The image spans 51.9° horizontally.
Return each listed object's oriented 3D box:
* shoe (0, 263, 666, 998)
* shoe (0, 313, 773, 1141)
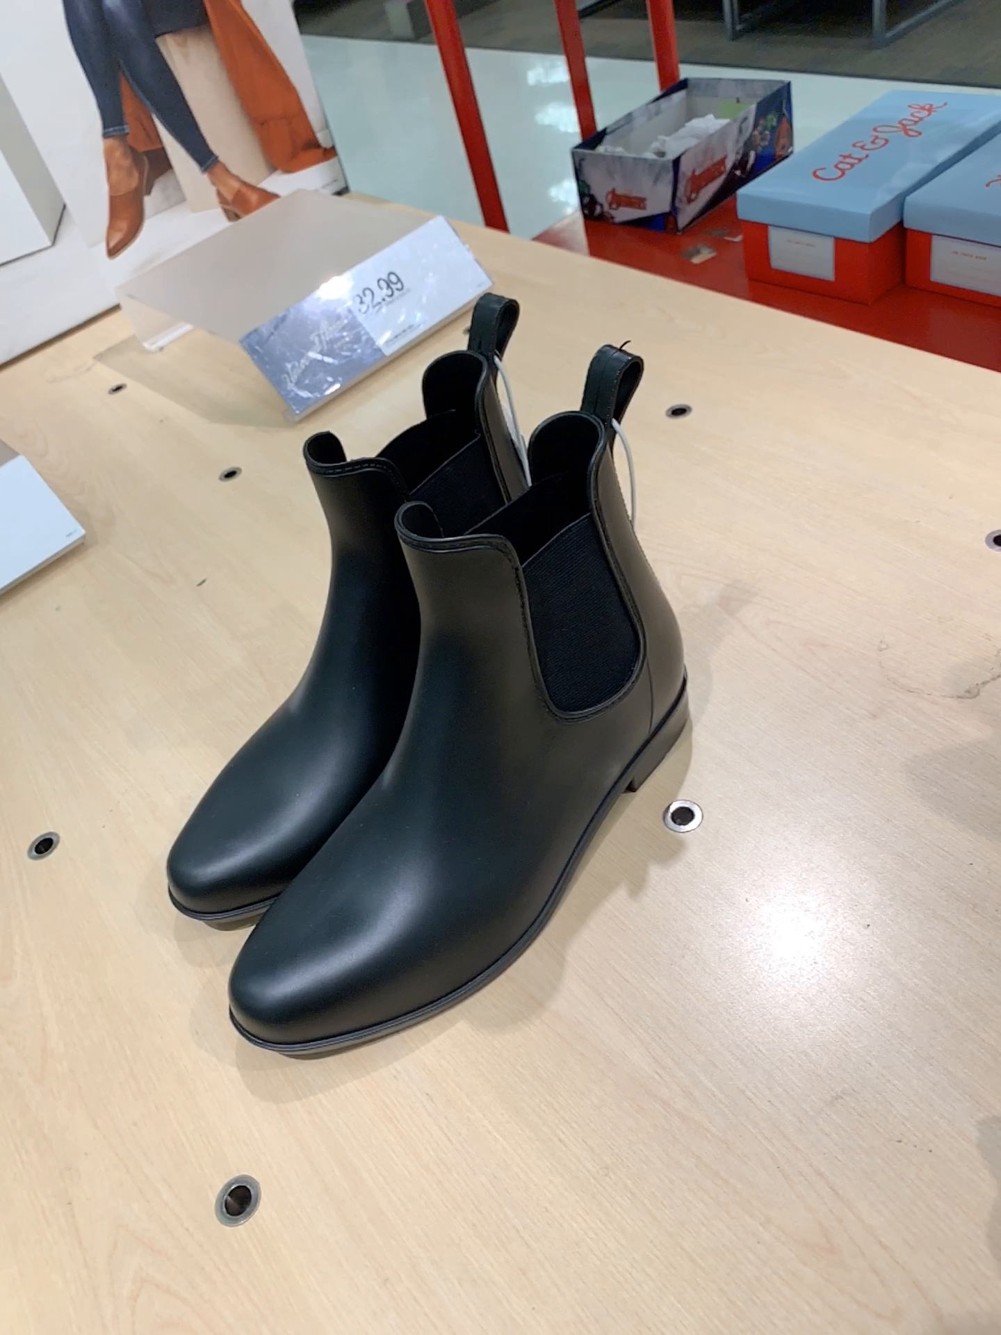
[{"bbox_3d":[-0.072,-0.025,0.495,0.286,0.201,0.114,-39,46,-21],"label":"shoe"},{"bbox_3d":[-0.022,0.018,0.436,0.286,0.199,0.100,-39,46,-21],"label":"shoe"}]
